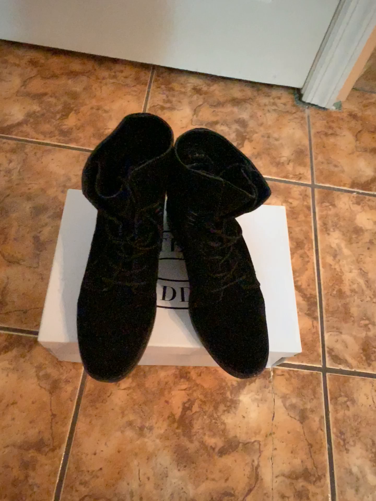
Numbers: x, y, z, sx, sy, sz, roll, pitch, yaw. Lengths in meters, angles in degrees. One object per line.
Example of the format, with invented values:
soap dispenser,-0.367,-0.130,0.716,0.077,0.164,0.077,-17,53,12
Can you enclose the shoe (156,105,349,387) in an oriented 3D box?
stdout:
shoe,0.044,-0.009,0.426,0.107,0.142,0.268,-8,62,-12

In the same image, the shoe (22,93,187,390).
shoe,-0.067,-0.007,0.398,0.094,0.152,0.258,8,60,-4
